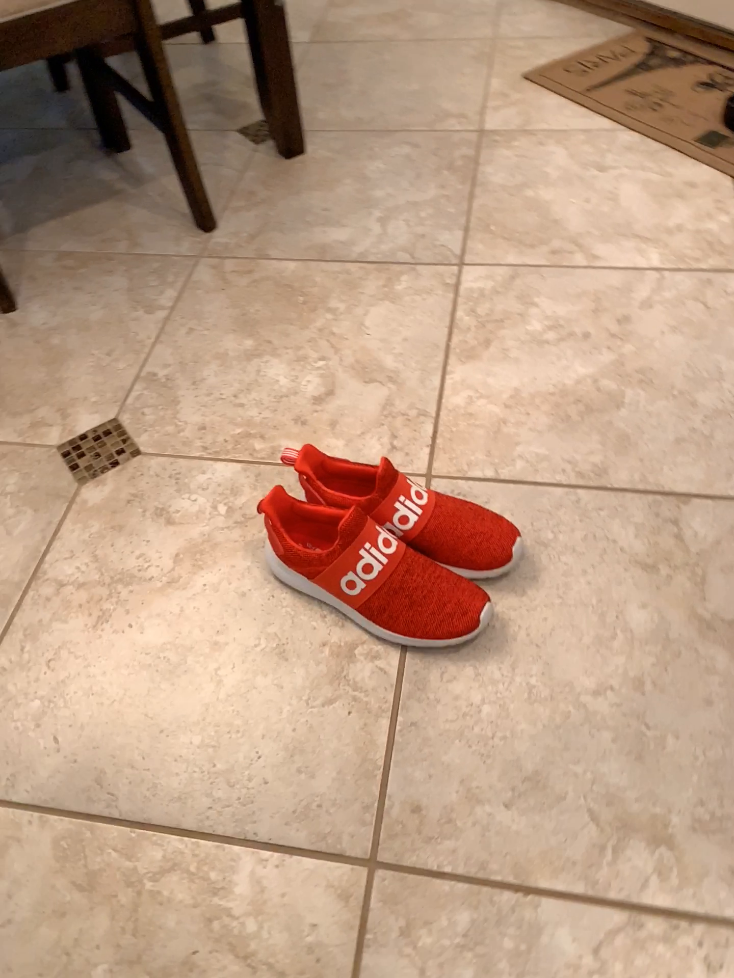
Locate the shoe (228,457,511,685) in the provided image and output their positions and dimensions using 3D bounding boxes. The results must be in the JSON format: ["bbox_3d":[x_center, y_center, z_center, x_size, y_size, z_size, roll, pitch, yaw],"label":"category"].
[{"bbox_3d":[0.003,0.091,0.888,0.300,0.119,0.118,22,57,22],"label":"shoe"}]

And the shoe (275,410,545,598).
[{"bbox_3d":[0.054,0.015,0.938,0.300,0.119,0.118,15,54,17],"label":"shoe"}]
